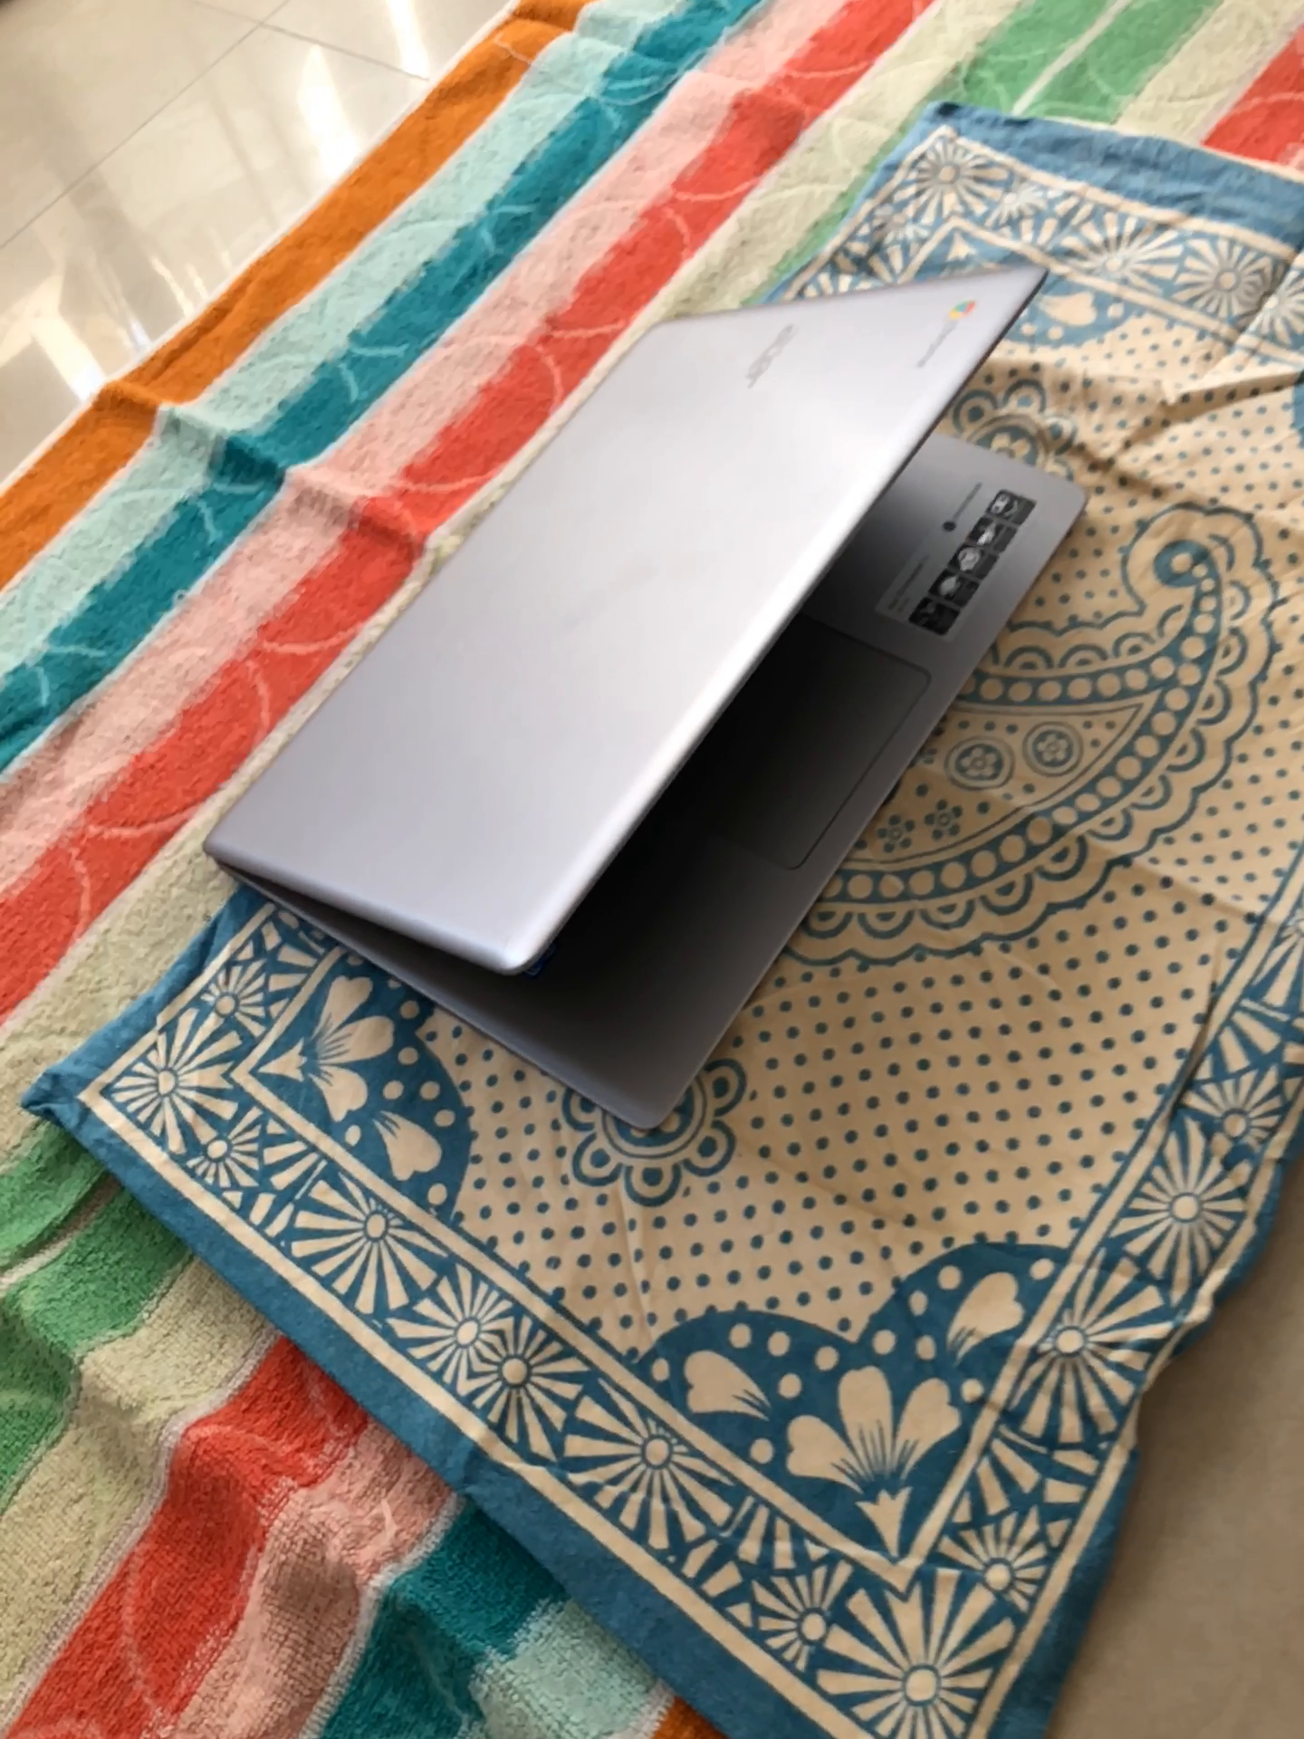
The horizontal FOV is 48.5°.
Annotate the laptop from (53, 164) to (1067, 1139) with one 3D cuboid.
[{"bbox_3d":[-0.021,-0.100,0.560,0.222,0.105,0.320,28,70,22],"label":"laptop"}]
